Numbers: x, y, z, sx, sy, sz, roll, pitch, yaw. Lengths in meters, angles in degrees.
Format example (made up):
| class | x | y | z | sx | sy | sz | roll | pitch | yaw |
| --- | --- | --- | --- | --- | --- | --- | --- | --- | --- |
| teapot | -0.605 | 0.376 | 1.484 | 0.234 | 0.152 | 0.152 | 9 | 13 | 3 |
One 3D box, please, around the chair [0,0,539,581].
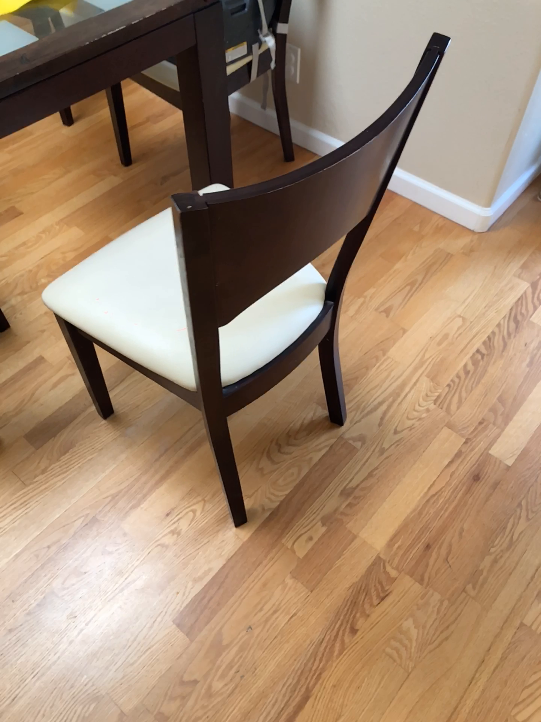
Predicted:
| class | x | y | z | sx | sy | sz | roll | pitch | yaw |
| --- | --- | --- | --- | --- | --- | --- | --- | --- | --- |
| chair | -0.053 | -0.135 | 1.179 | 0.592 | 0.995 | 0.561 | 38 | 61 | 25 |
